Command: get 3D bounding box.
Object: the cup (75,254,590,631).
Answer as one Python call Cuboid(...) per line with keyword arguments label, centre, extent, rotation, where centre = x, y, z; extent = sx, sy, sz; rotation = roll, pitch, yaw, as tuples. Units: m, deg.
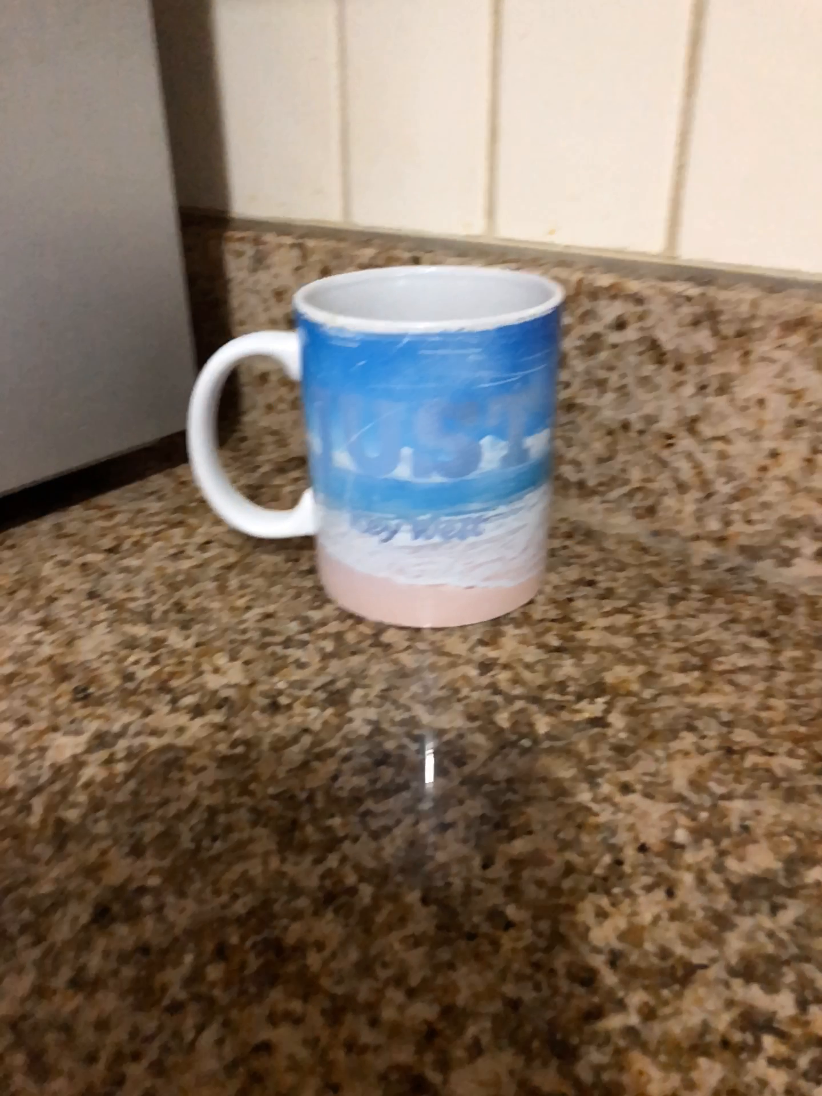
Cuboid(label="cup", centre=(-0.016, -0.039, 0.287), extent=(0.130, 0.090, 0.090), rotation=(2, 26, 5))
